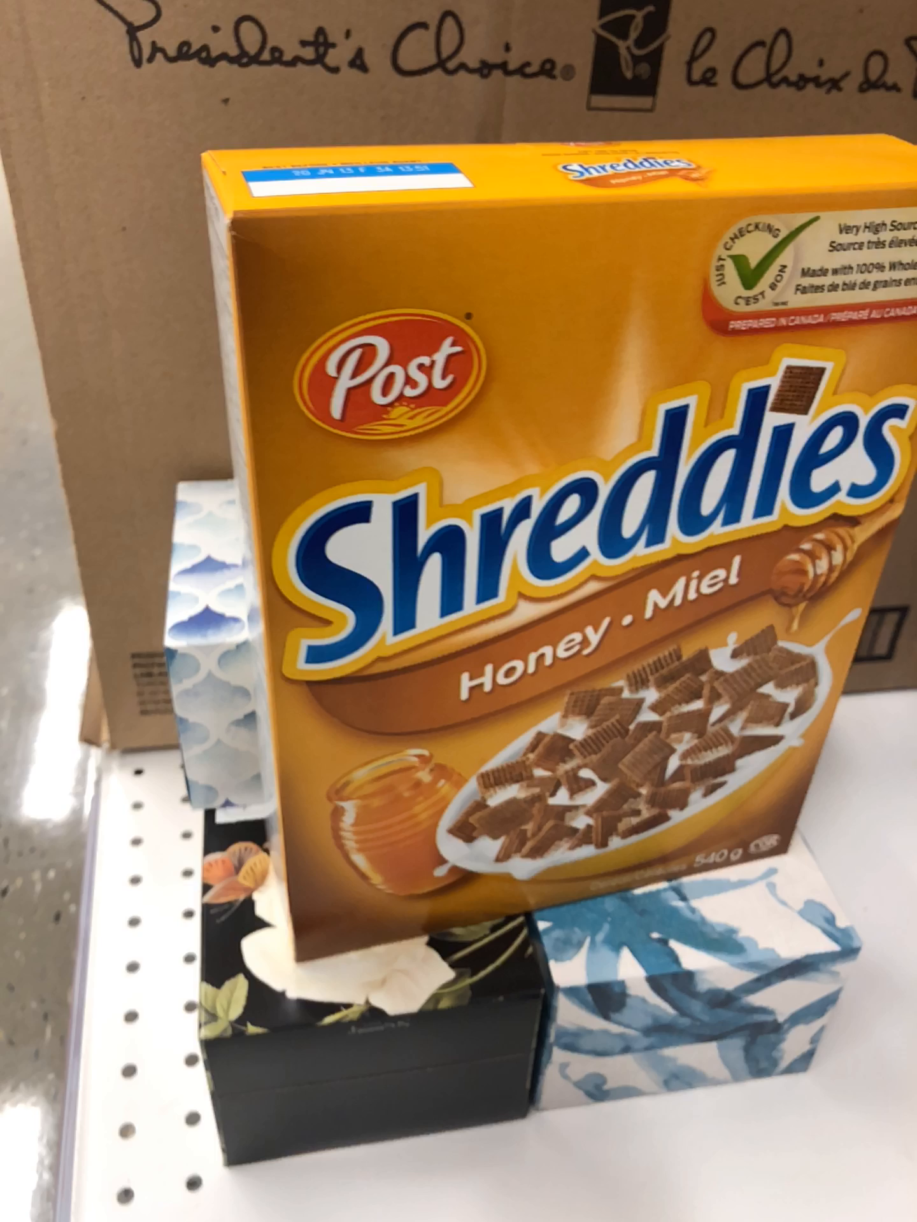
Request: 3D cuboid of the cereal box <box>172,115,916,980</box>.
[{"bbox_3d":[0.038,-0.011,0.332,0.220,0.259,0.060,-9,37,-16],"label":"cereal box"}]
